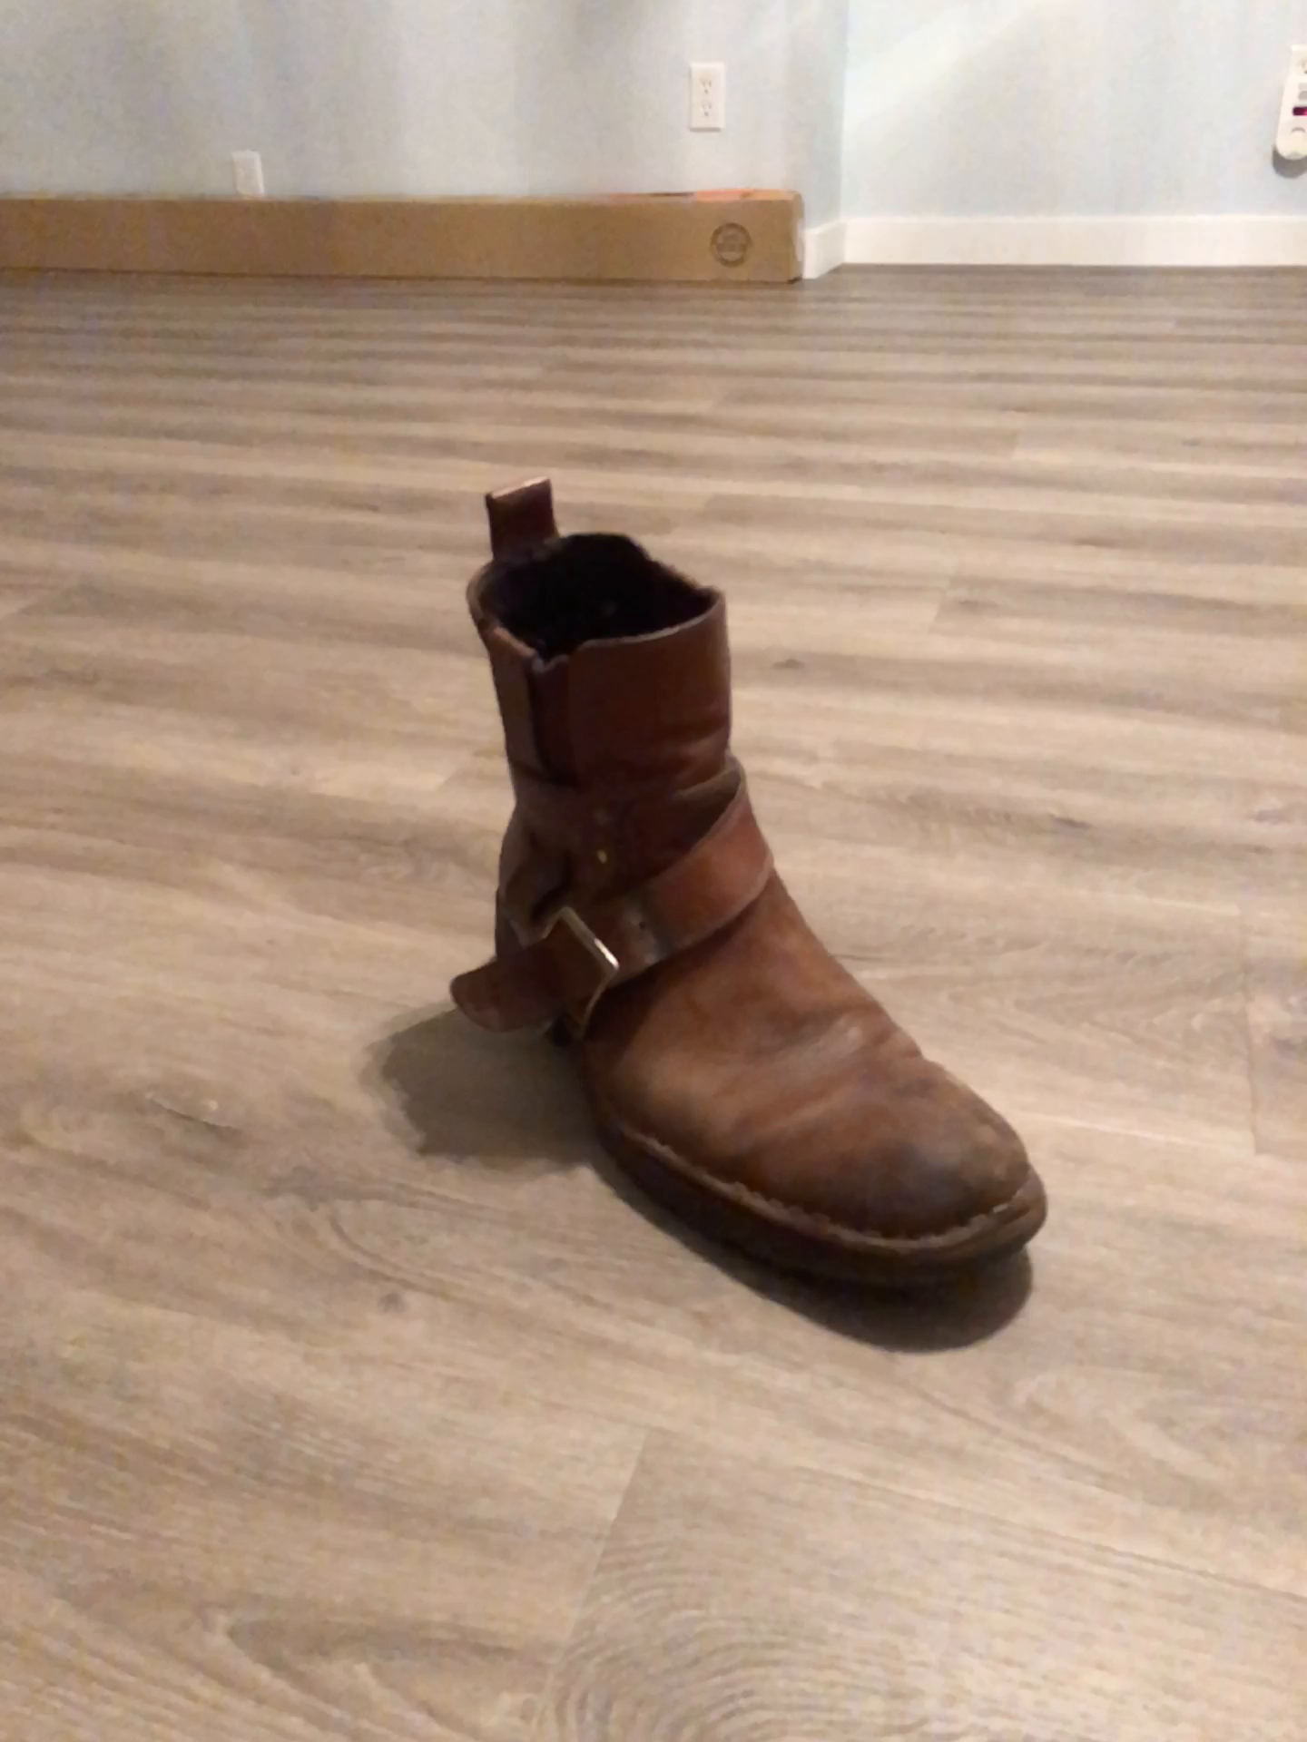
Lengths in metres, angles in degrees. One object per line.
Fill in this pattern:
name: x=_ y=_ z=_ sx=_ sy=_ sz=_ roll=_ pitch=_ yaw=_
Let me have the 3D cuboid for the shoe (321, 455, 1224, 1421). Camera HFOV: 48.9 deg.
shoe: x=0.018 y=-0.007 z=0.504 sx=0.130 sy=0.209 sz=0.291 roll=-20 pitch=33 yaw=-30
